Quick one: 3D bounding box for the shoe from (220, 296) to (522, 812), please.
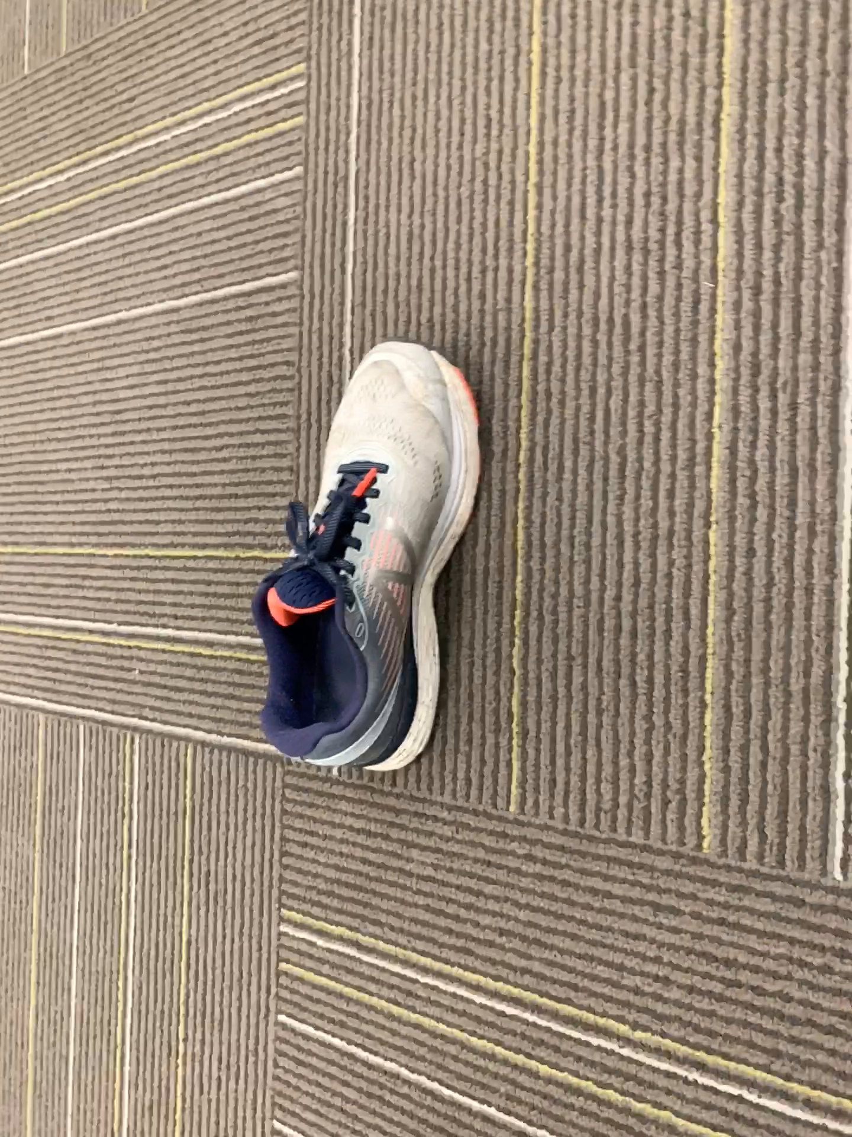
[{"bbox_3d":[-0.038,-0.014,0.557,0.131,0.079,0.290,12,95,35],"label":"shoe"}]
